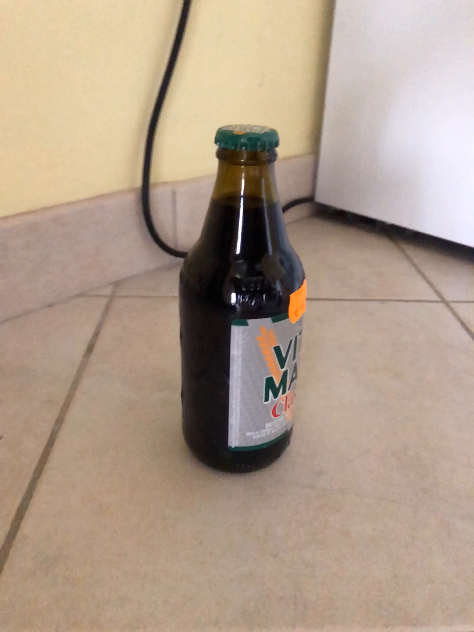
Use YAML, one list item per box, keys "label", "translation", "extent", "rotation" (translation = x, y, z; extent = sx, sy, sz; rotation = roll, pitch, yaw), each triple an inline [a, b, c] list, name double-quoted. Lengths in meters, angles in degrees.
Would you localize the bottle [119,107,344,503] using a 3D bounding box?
- label: "bottle"
  translation: [-0.002, -0.005, 0.258]
  extent: [0.070, 0.169, 0.070]
  rotation: [2, 29, -1]
